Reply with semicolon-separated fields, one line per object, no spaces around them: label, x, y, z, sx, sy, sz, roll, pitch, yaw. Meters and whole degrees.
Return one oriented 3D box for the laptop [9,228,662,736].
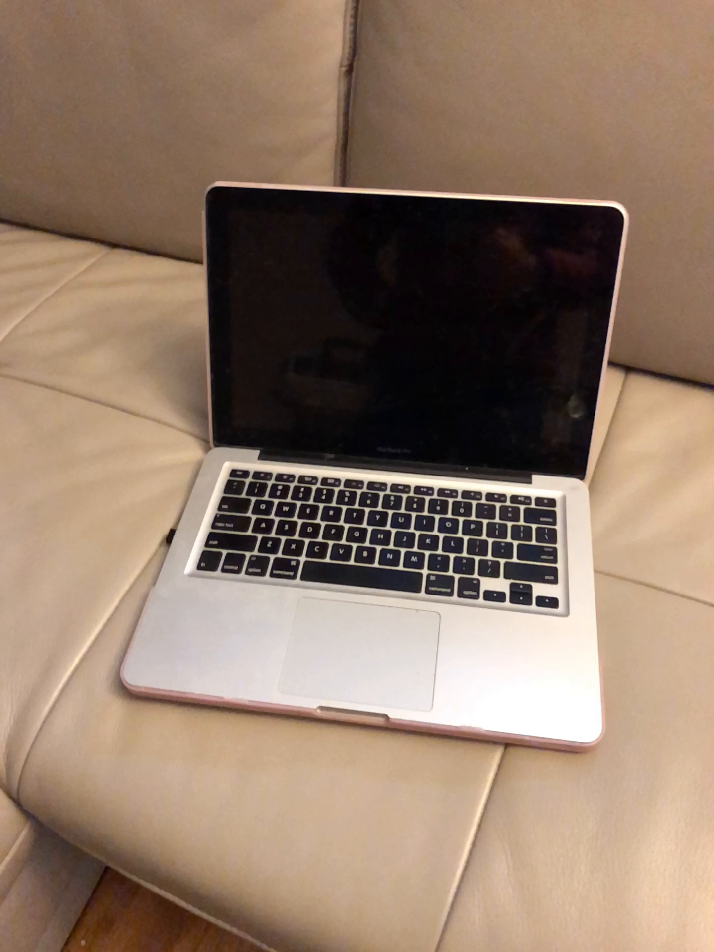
laptop;0.012;-0.014;0.541;0.305;0.177;0.307;5;46;7
